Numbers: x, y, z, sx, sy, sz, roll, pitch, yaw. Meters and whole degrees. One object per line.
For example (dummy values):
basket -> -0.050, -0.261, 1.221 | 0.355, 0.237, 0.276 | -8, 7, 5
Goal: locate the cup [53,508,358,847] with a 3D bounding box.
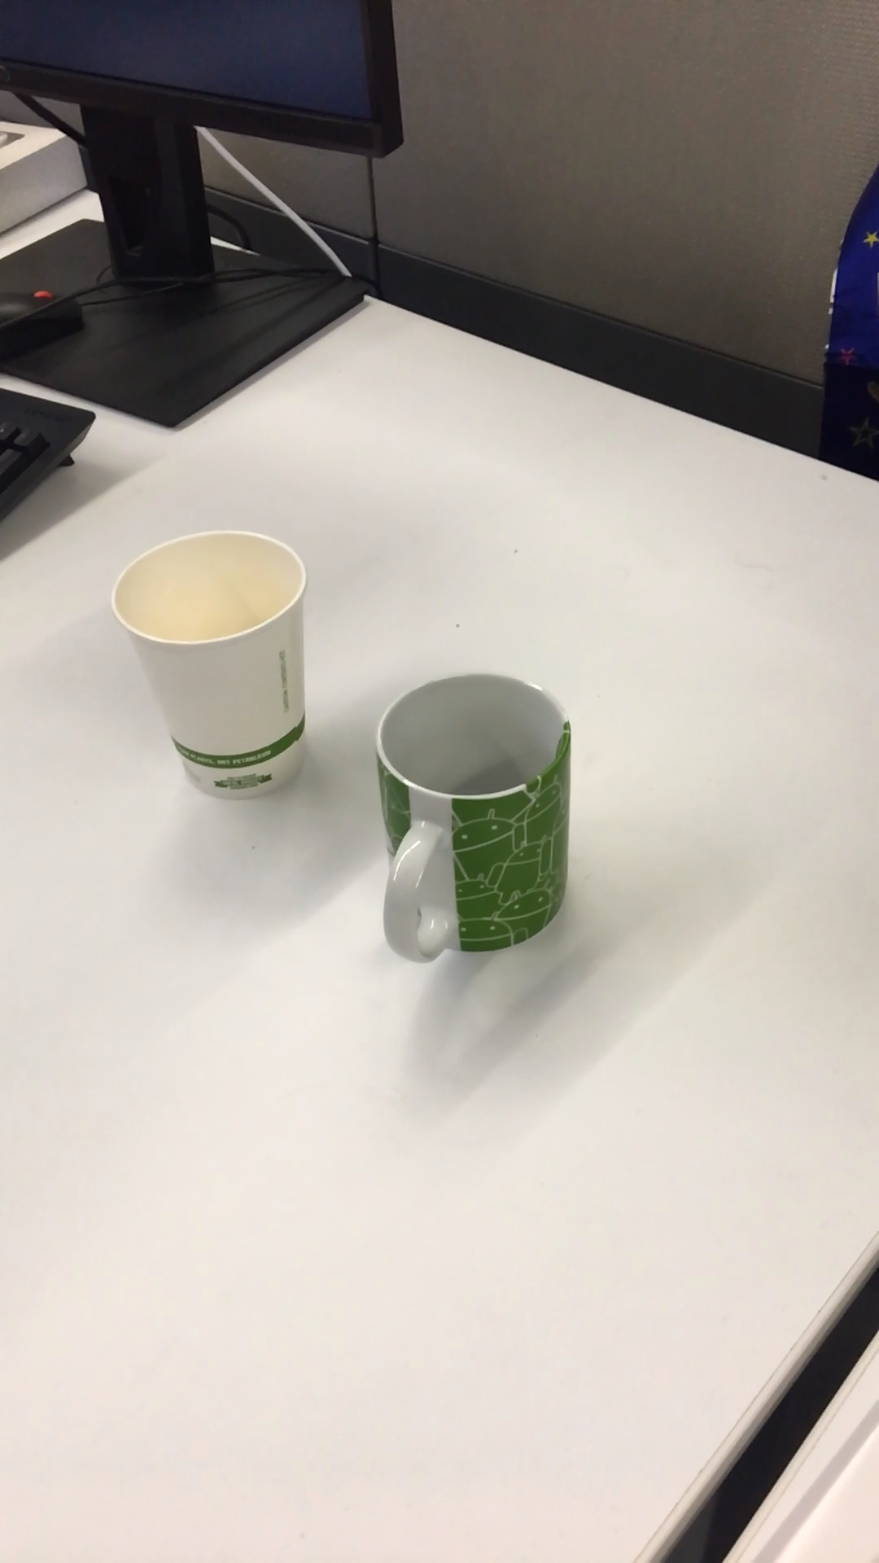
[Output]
cup -> -0.104, -0.049, 0.612 | 0.090, 0.110, 0.090 | -2, 44, 2

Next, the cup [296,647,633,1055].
cup -> 0.015, 0.025, 0.535 | 0.090, 0.090, 0.120 | 15, 47, 19
